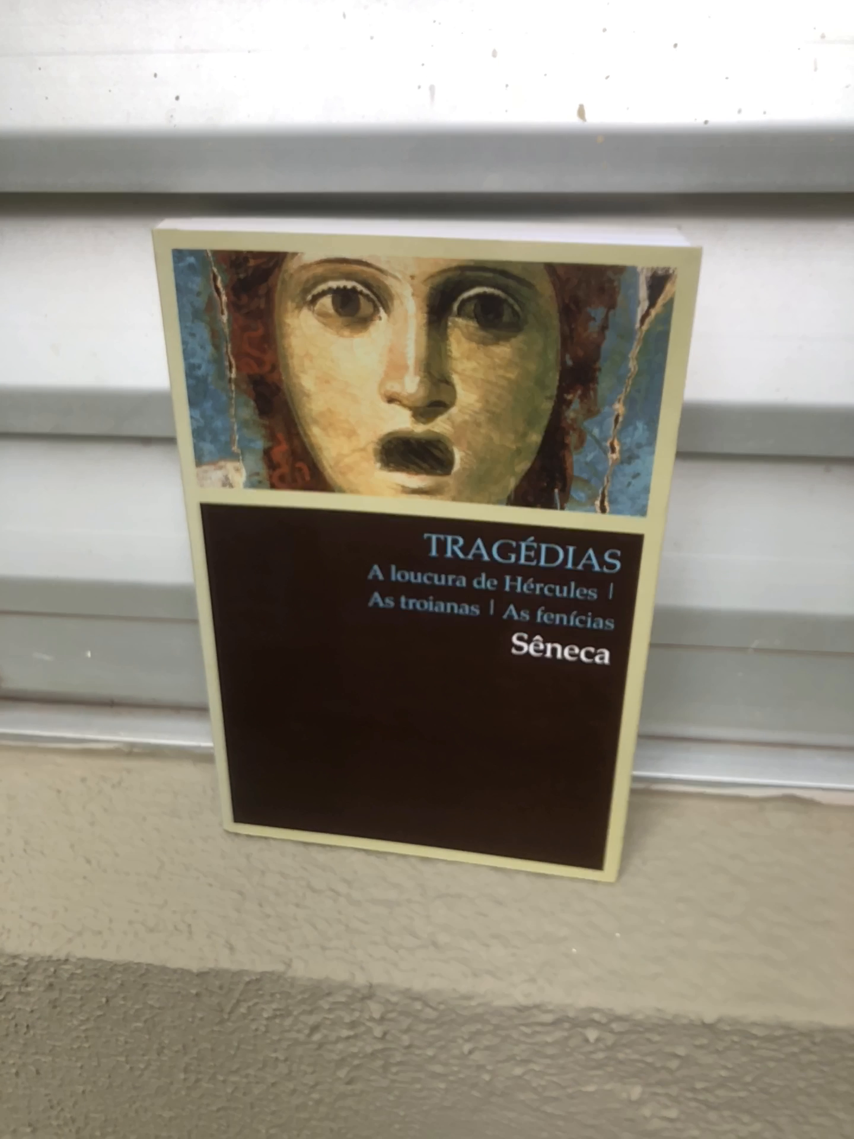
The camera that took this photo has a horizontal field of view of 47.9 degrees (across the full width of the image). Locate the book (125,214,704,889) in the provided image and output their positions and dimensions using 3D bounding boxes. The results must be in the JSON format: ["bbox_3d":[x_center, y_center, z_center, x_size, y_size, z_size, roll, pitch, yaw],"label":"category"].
[{"bbox_3d":[-0.004,0.001,0.287,0.144,0.196,0.026,5,26,11],"label":"book"}]
